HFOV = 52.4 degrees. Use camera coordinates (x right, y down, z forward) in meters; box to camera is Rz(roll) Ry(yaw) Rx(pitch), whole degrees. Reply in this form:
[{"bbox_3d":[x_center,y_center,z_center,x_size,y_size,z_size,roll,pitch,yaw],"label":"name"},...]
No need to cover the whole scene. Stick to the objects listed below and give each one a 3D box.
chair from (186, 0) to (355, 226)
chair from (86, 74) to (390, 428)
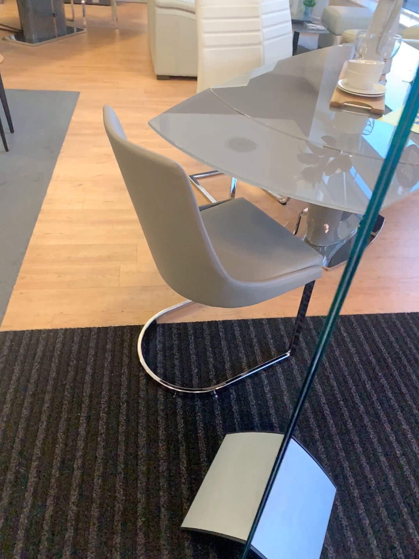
[{"bbox_3d":[0.247,-0.928,2.309,0.508,1.024,0.594,-17,45,-24],"label":"chair"},{"bbox_3d":[0.040,-0.098,1.358,0.591,0.846,0.510,-23,48,-29],"label":"chair"}]
